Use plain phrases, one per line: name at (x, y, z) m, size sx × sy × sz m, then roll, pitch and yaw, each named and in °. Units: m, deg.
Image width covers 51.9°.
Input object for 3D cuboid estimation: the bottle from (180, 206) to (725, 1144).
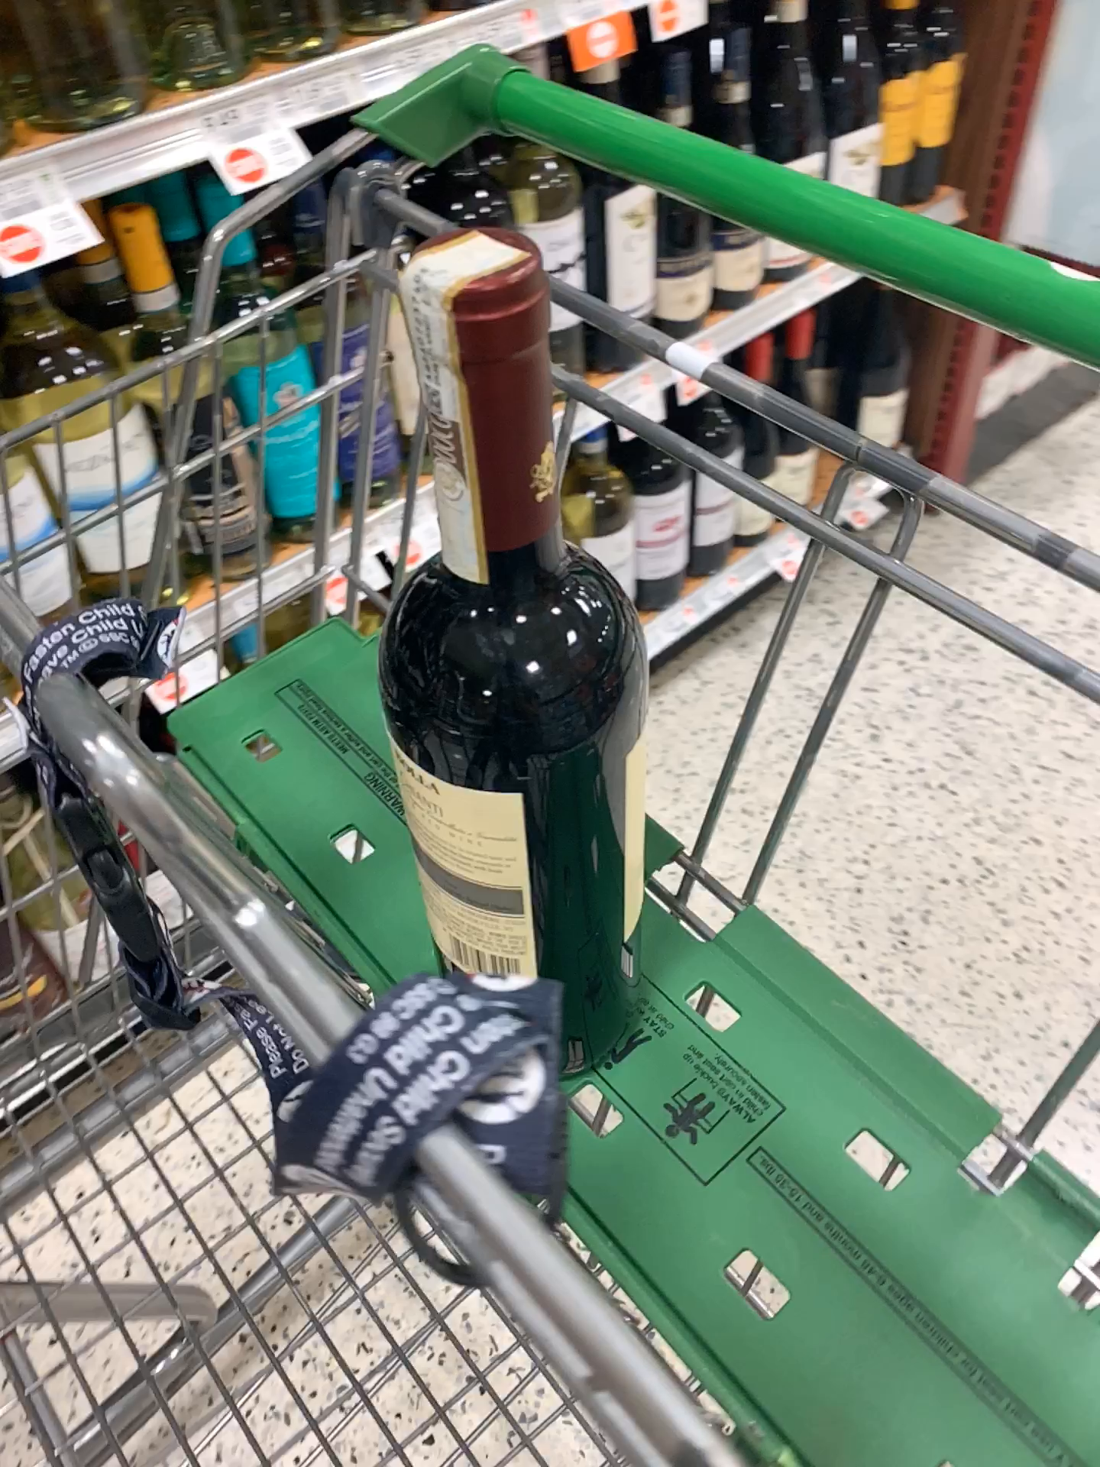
bottle at (-0.016, 0.007, 0.328) m, size 0.080 × 0.267 × 0.081 m, roll -2°, pitch 47°, yaw 2°
